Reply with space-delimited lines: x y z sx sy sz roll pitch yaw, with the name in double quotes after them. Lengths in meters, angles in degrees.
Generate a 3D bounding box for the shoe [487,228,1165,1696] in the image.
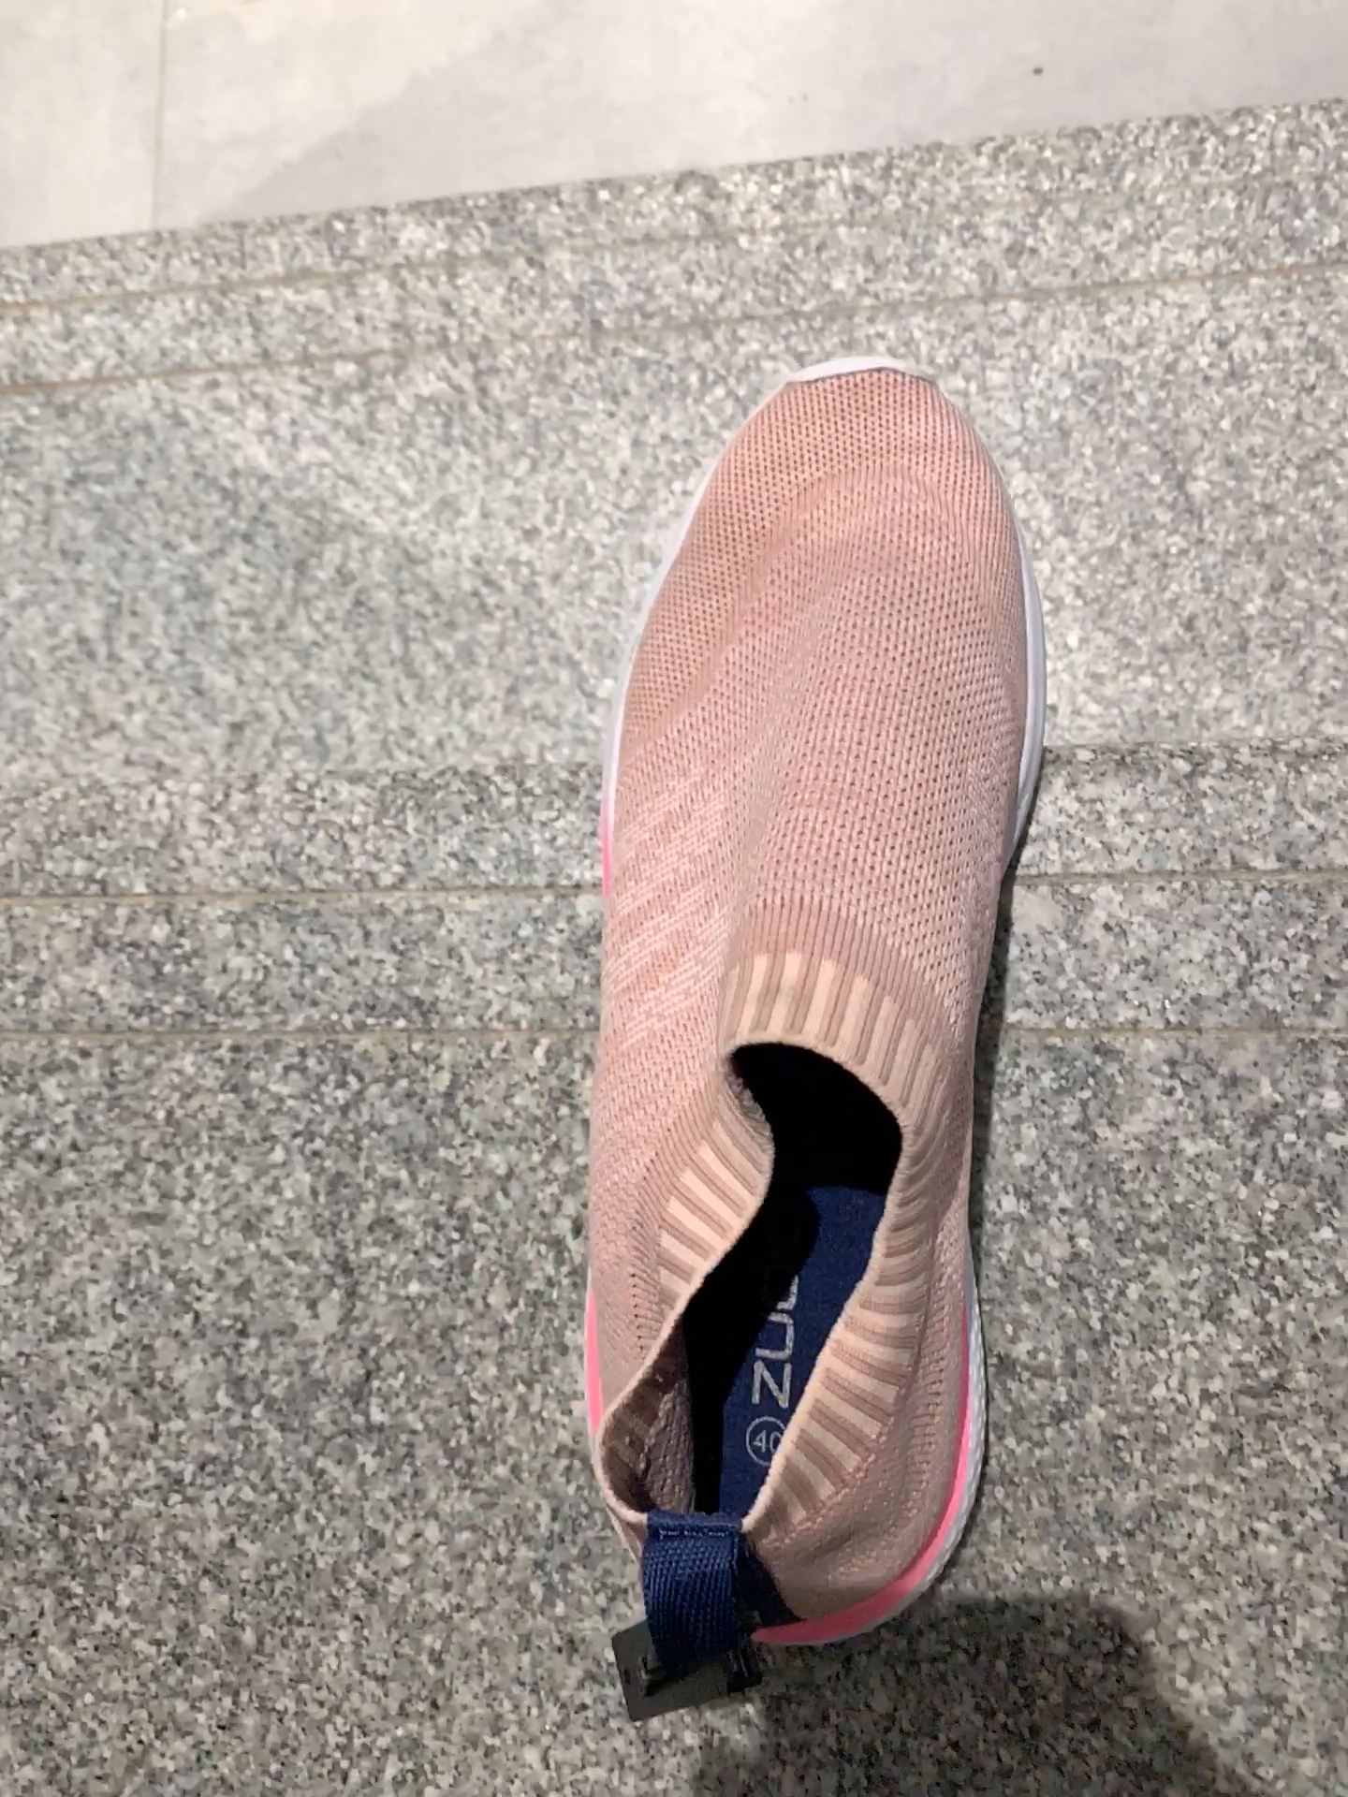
0.035 0.005 0.284 0.100 0.080 0.250 4 83 11 "shoe"
